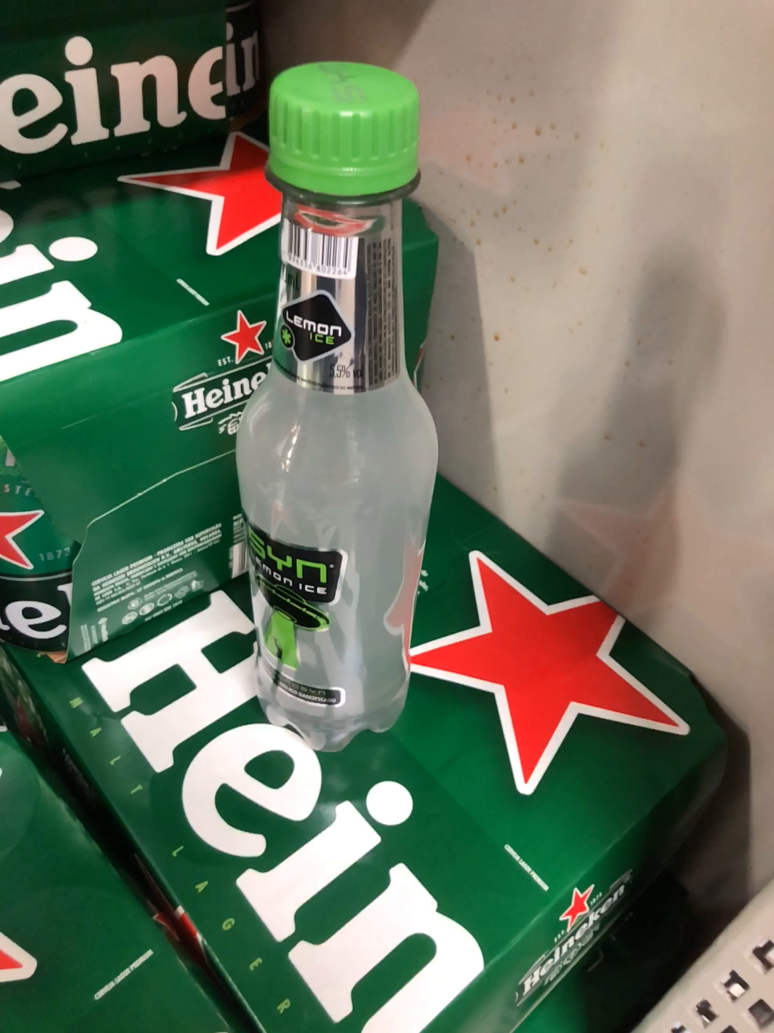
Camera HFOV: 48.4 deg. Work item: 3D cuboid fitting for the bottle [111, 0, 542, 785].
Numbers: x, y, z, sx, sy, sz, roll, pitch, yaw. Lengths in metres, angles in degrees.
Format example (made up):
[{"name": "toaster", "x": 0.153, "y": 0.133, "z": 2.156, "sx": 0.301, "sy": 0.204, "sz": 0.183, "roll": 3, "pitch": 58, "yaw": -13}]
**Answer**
[{"name": "bottle", "x": -0.017, "y": -0.015, "z": 0.241, "sx": 0.060, "sy": 0.208, "sz": 0.060, "roll": 3, "pitch": 45, "yaw": -3}]
